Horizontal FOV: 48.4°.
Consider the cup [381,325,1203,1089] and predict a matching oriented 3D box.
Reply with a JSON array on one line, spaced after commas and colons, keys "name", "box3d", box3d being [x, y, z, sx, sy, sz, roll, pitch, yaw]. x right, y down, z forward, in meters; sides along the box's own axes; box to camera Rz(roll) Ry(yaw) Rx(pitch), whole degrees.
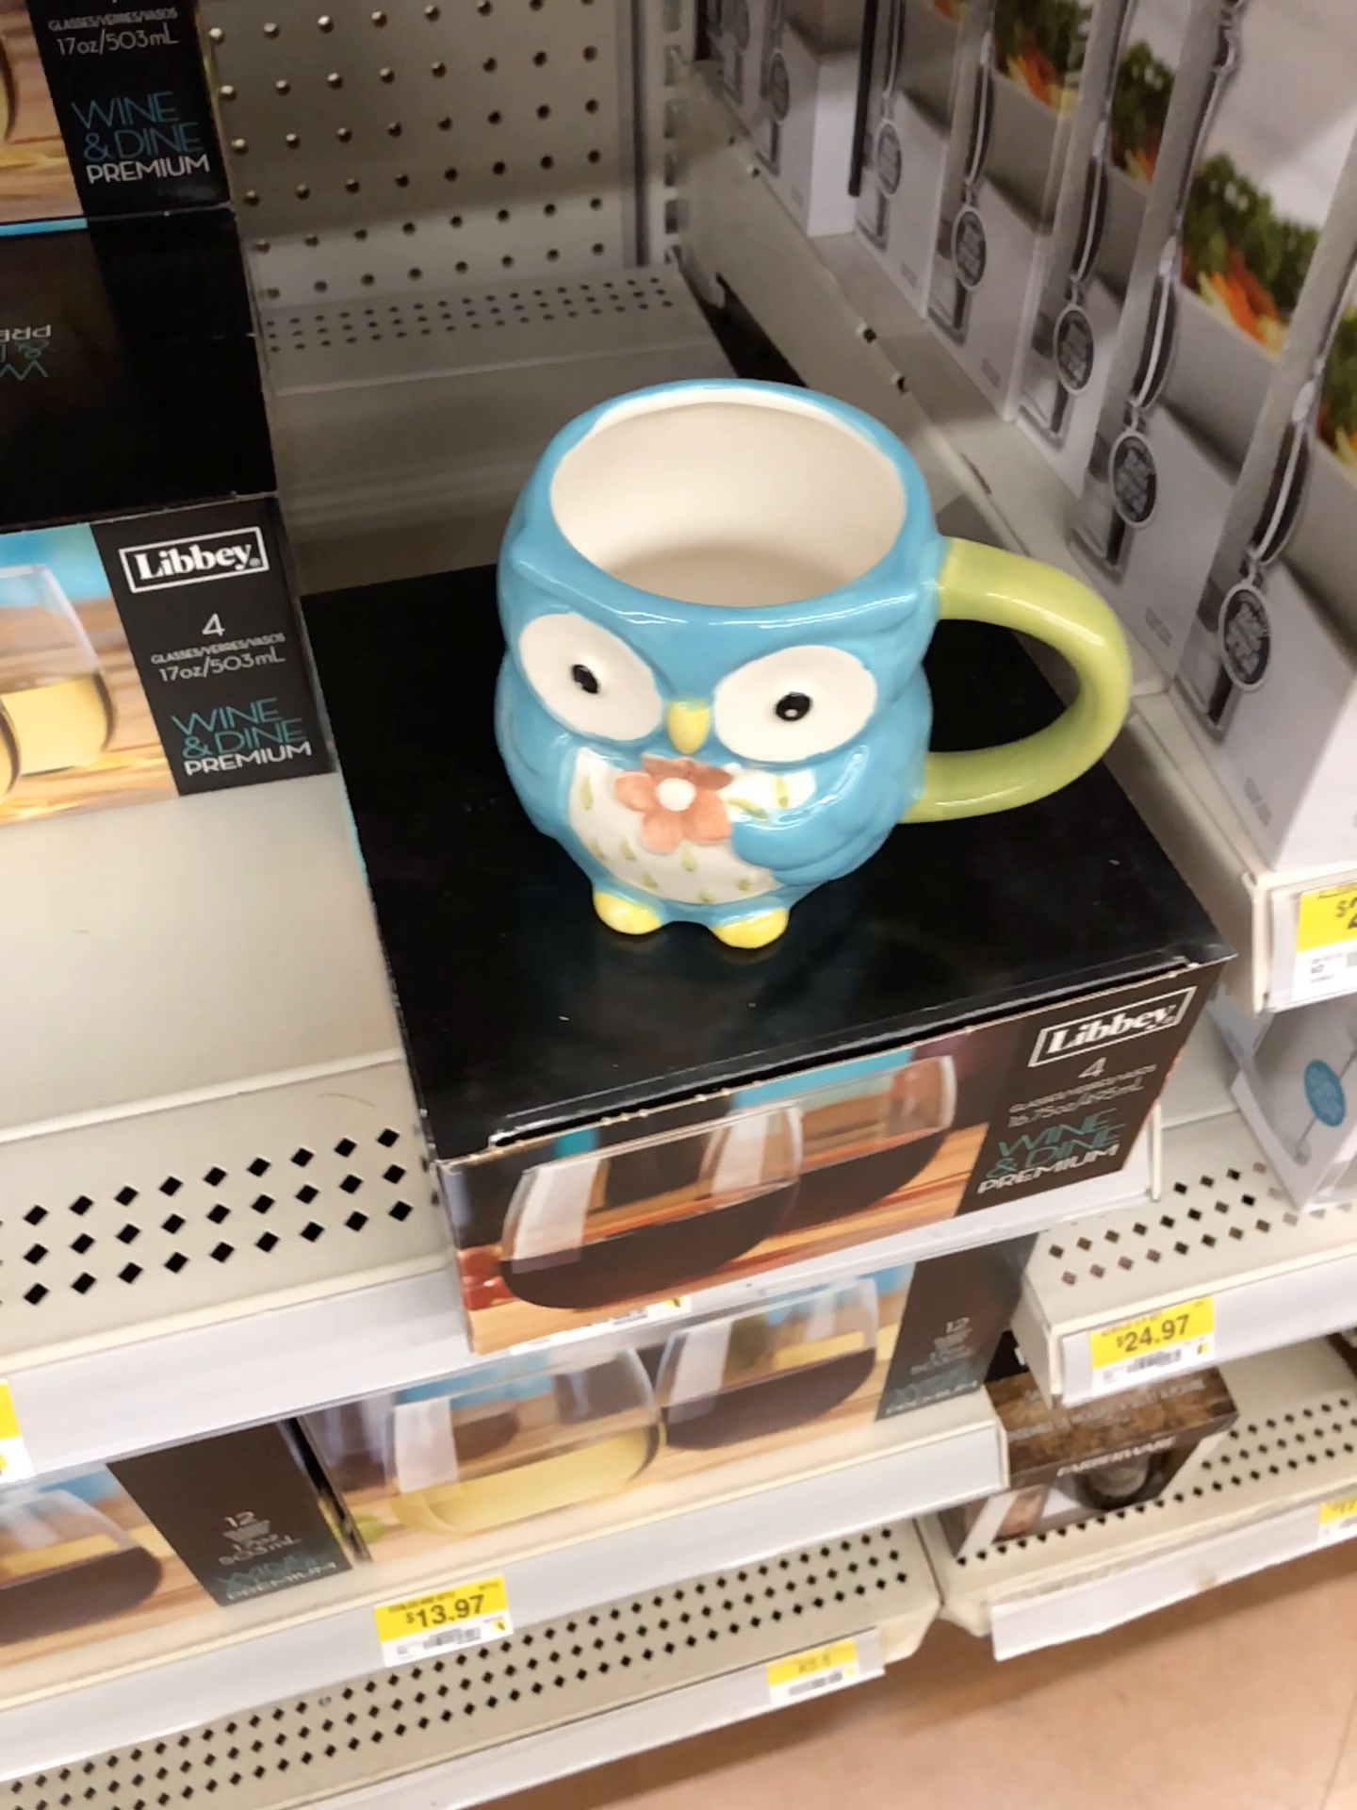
[{"name": "cup", "box3d": [0.026, -0.043, 0.332, 0.140, 0.110, 0.090, 13, 51, 11]}]
